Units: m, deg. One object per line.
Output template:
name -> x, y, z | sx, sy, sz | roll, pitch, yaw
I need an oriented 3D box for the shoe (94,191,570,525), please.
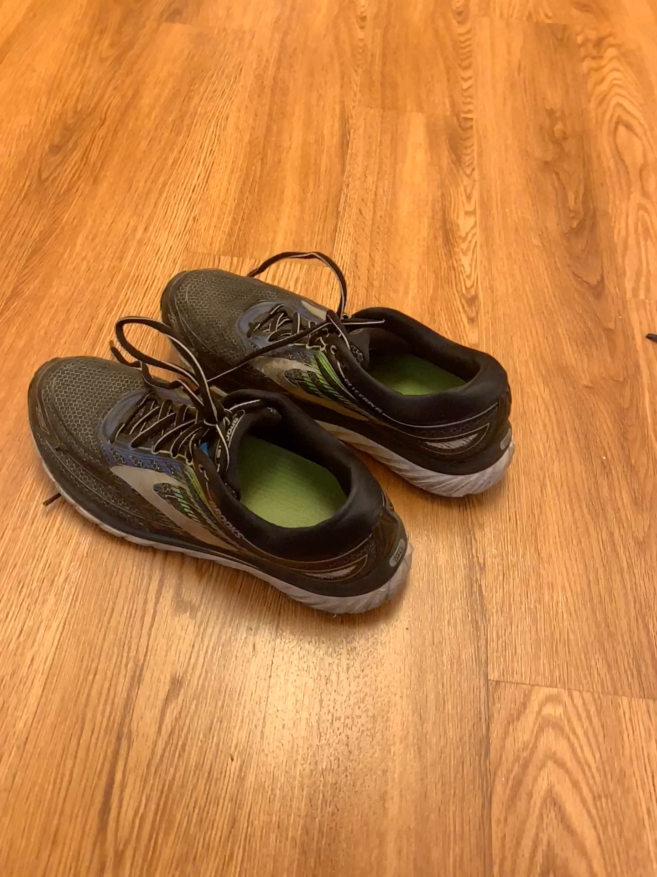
shoe -> -0.001, -0.071, 0.553 | 0.340, 0.110, 0.120 | 23, 59, 11

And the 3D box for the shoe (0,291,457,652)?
shoe -> -0.086, 0.020, 0.493 | 0.320, 0.110, 0.110 | 23, 59, 11
